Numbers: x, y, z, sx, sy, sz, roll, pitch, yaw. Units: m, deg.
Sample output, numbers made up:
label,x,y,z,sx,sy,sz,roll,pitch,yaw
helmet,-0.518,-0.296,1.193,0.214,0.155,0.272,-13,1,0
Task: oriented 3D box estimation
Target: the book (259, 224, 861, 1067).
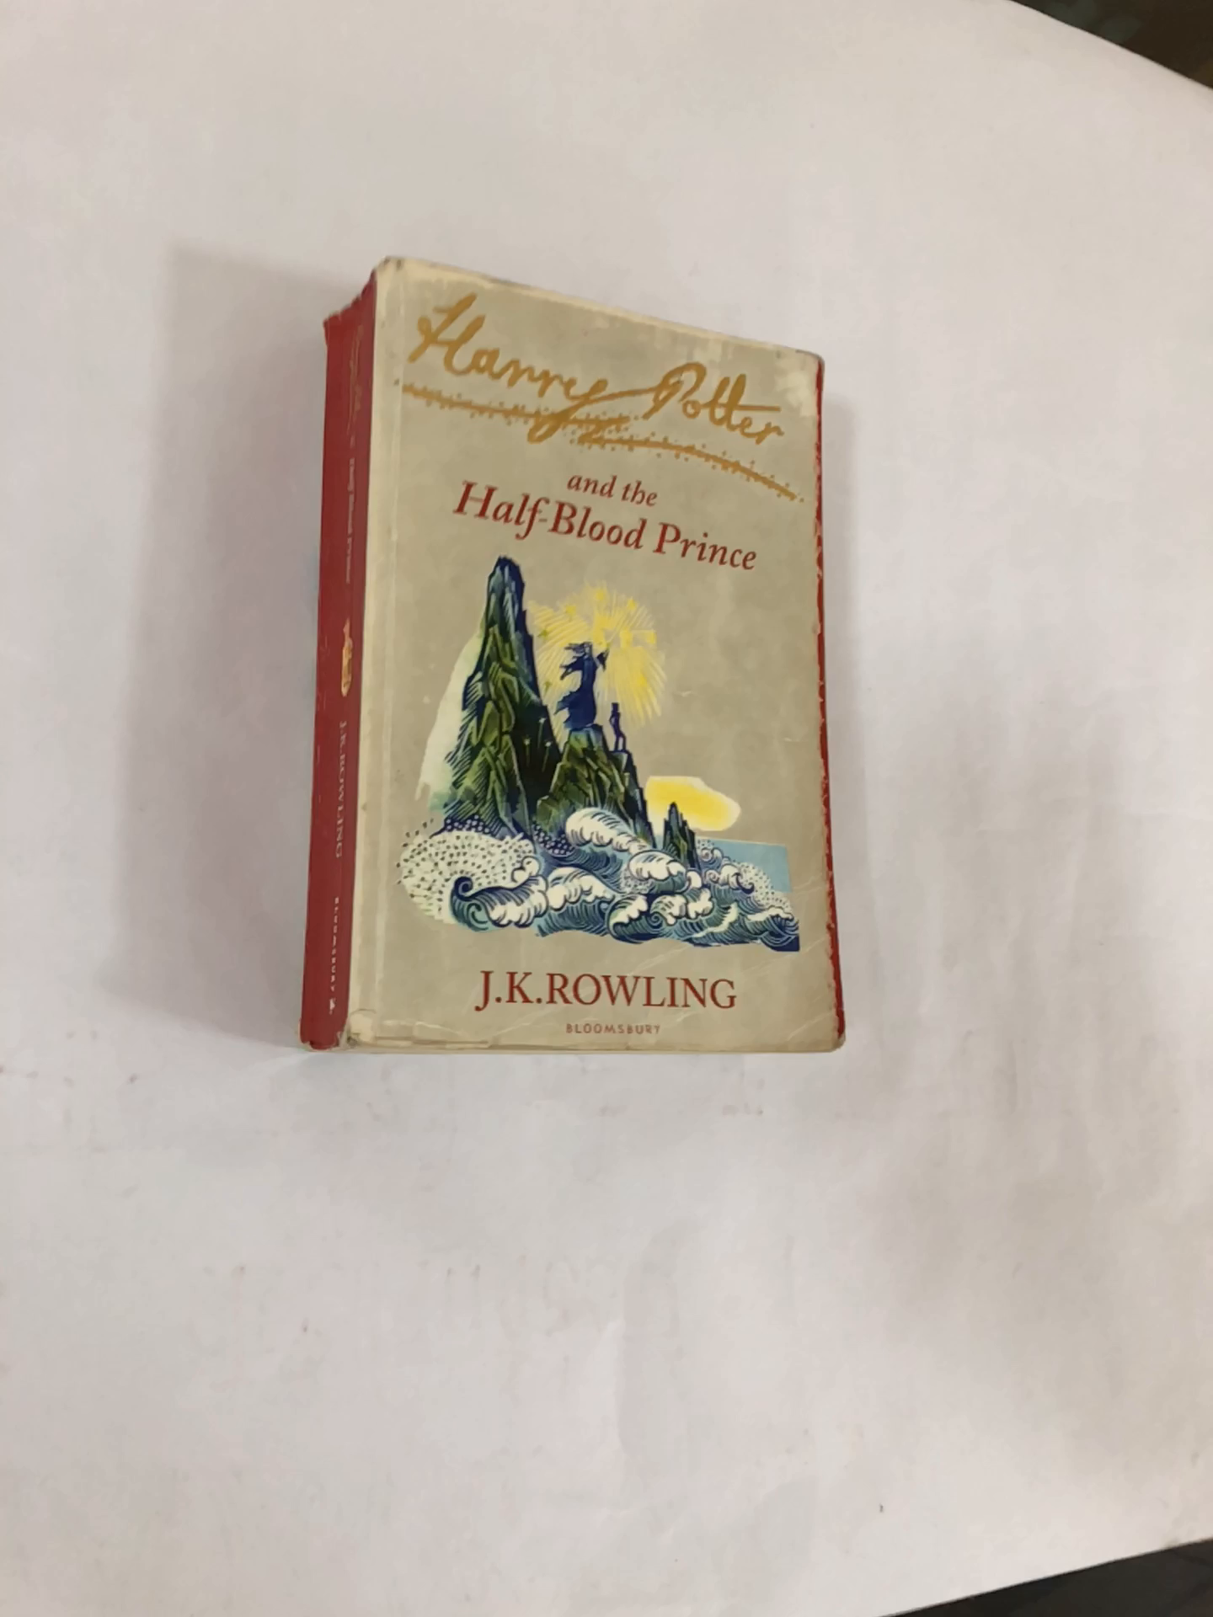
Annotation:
label,x,y,z,sx,sy,sz,roll,pitch,yaw
book,-0.011,-0.031,0.329,0.130,0.050,0.181,4,78,-25
